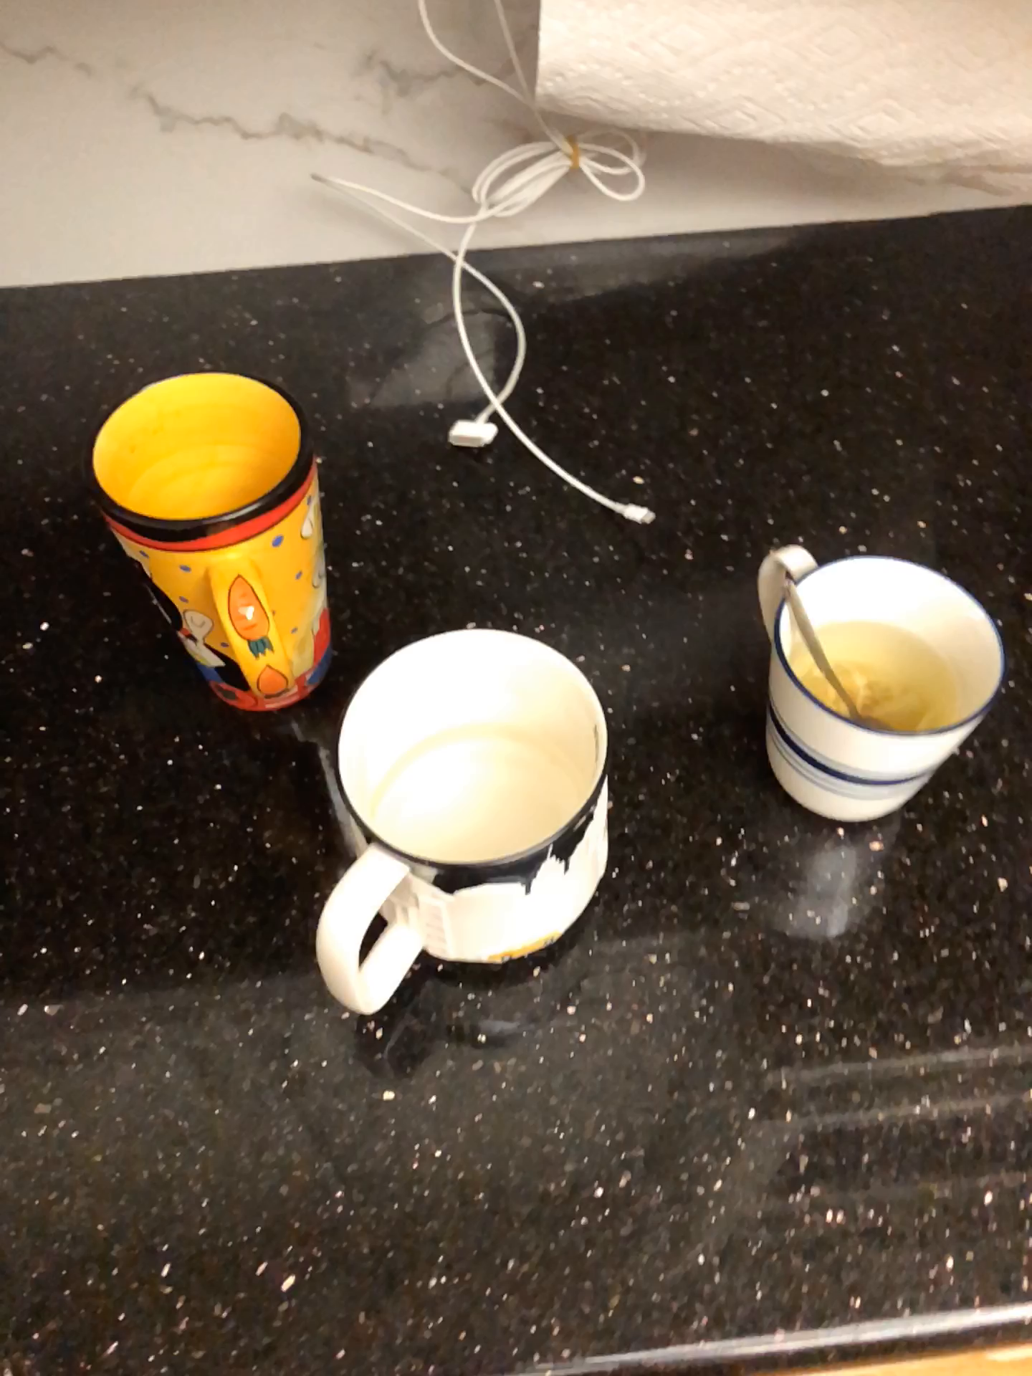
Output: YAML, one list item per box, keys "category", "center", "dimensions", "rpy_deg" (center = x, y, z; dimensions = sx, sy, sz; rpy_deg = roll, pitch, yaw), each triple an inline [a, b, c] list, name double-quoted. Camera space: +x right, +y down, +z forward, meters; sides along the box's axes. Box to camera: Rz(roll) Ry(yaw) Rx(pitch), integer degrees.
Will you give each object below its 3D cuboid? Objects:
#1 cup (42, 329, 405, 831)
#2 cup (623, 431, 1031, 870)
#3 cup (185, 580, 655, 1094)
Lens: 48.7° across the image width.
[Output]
- category: "cup"
  center: [-0.118, -0.044, 0.476]
  dimensions: [0.090, 0.129, 0.141]
  rpy_deg: [-19, 57, -12]
- category: "cup"
  center: [0.120, -0.017, 0.468]
  dimensions: [0.090, 0.090, 0.130]
  rpy_deg: [-26, 58, -16]
- category: "cup"
  center: [-0.030, 0.054, 0.442]
  dimensions: [0.110, 0.090, 0.140]
  rpy_deg: [24, 59, 17]
